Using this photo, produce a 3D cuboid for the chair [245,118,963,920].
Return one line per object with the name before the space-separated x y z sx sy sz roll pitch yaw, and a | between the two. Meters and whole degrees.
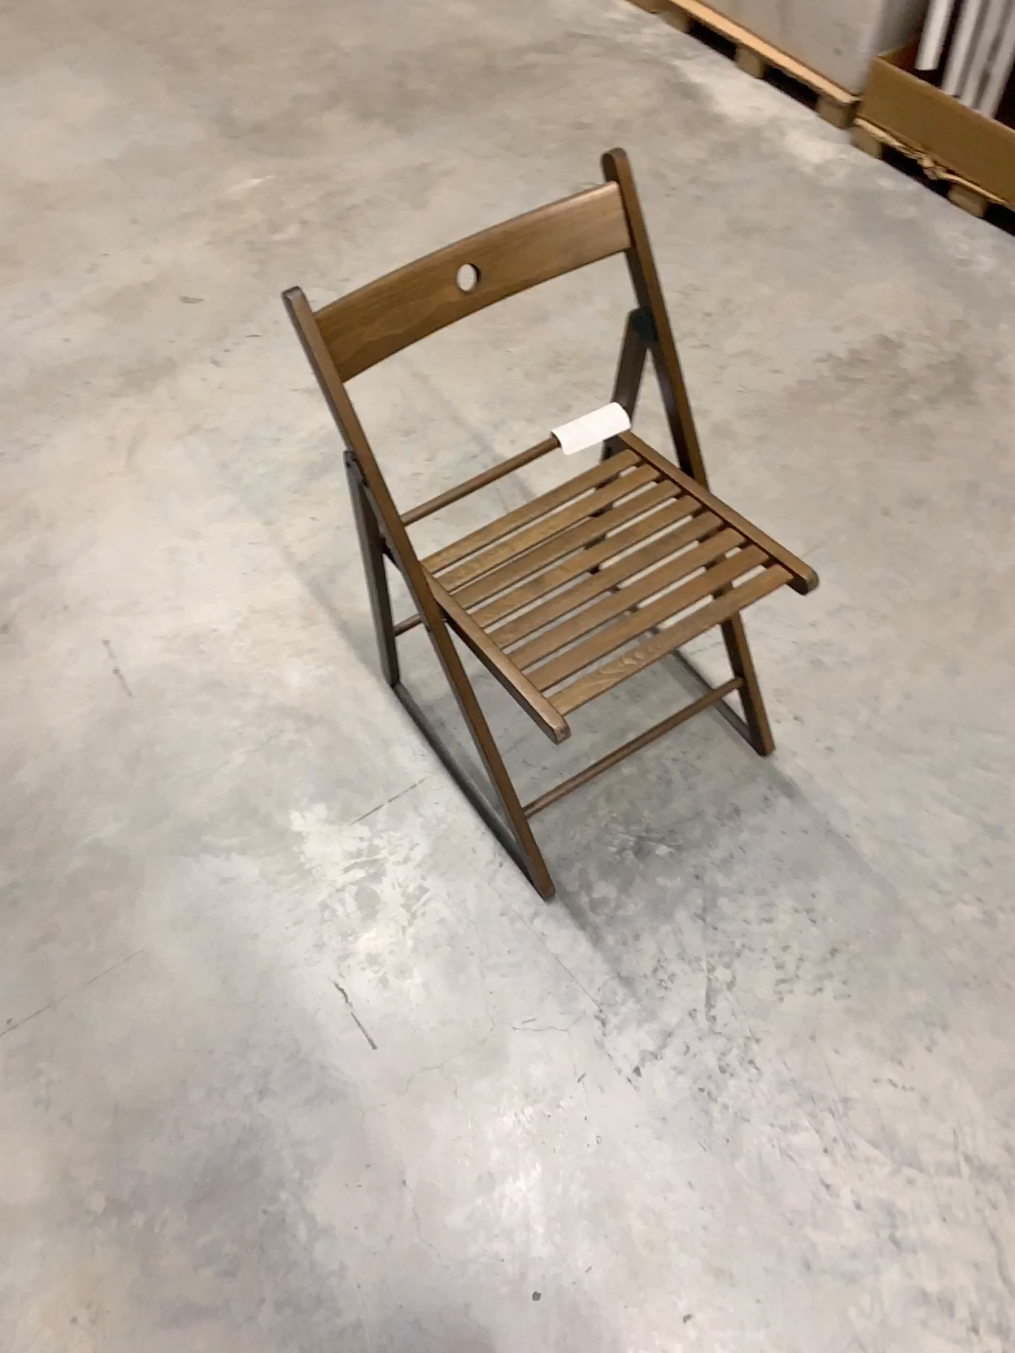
chair | 0.092 -0.156 1.270 0.480 0.698 0.501 -30 59 -15
